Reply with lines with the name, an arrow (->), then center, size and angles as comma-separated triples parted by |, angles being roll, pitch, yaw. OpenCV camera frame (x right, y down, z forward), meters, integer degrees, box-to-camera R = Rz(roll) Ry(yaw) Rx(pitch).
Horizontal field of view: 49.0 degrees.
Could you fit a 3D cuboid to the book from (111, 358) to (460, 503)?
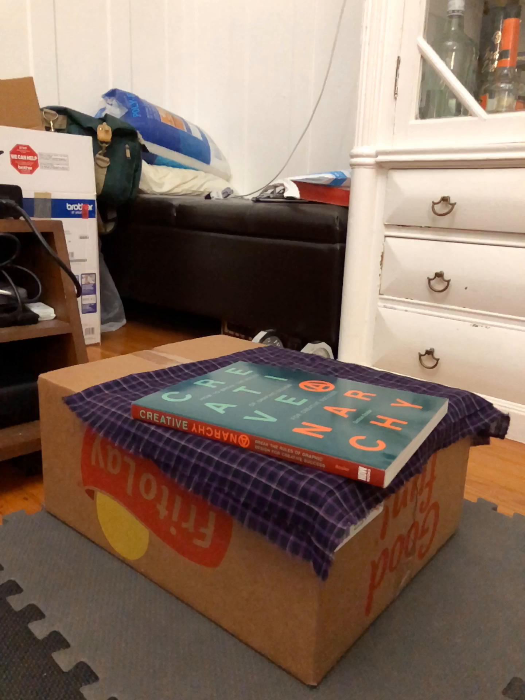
book -> 0.031, 0.064, 0.608 | 0.300, 0.020, 0.221 | 10, 16, 28
